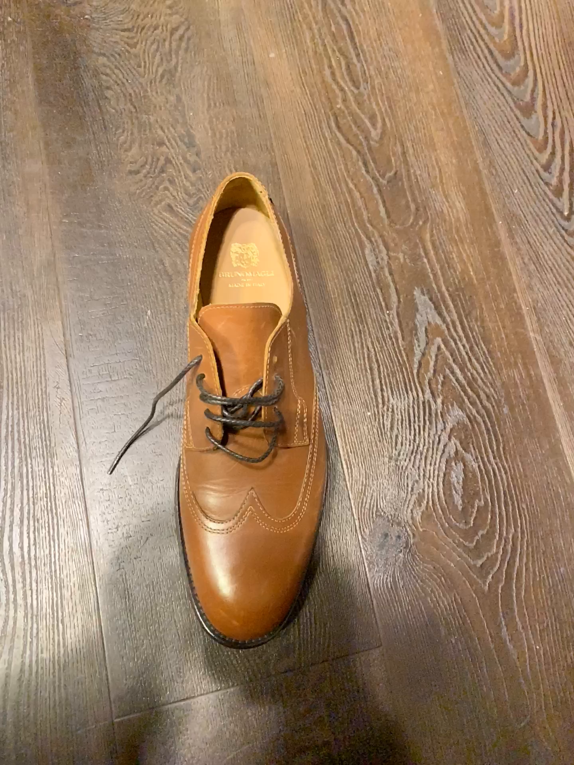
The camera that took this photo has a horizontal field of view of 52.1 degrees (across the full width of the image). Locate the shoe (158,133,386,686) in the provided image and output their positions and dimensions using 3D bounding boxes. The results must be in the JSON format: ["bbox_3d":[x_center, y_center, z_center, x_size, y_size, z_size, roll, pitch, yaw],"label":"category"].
[{"bbox_3d":[-0.019,0.011,0.397,0.120,0.110,0.321,1,76,-10],"label":"shoe"}]
